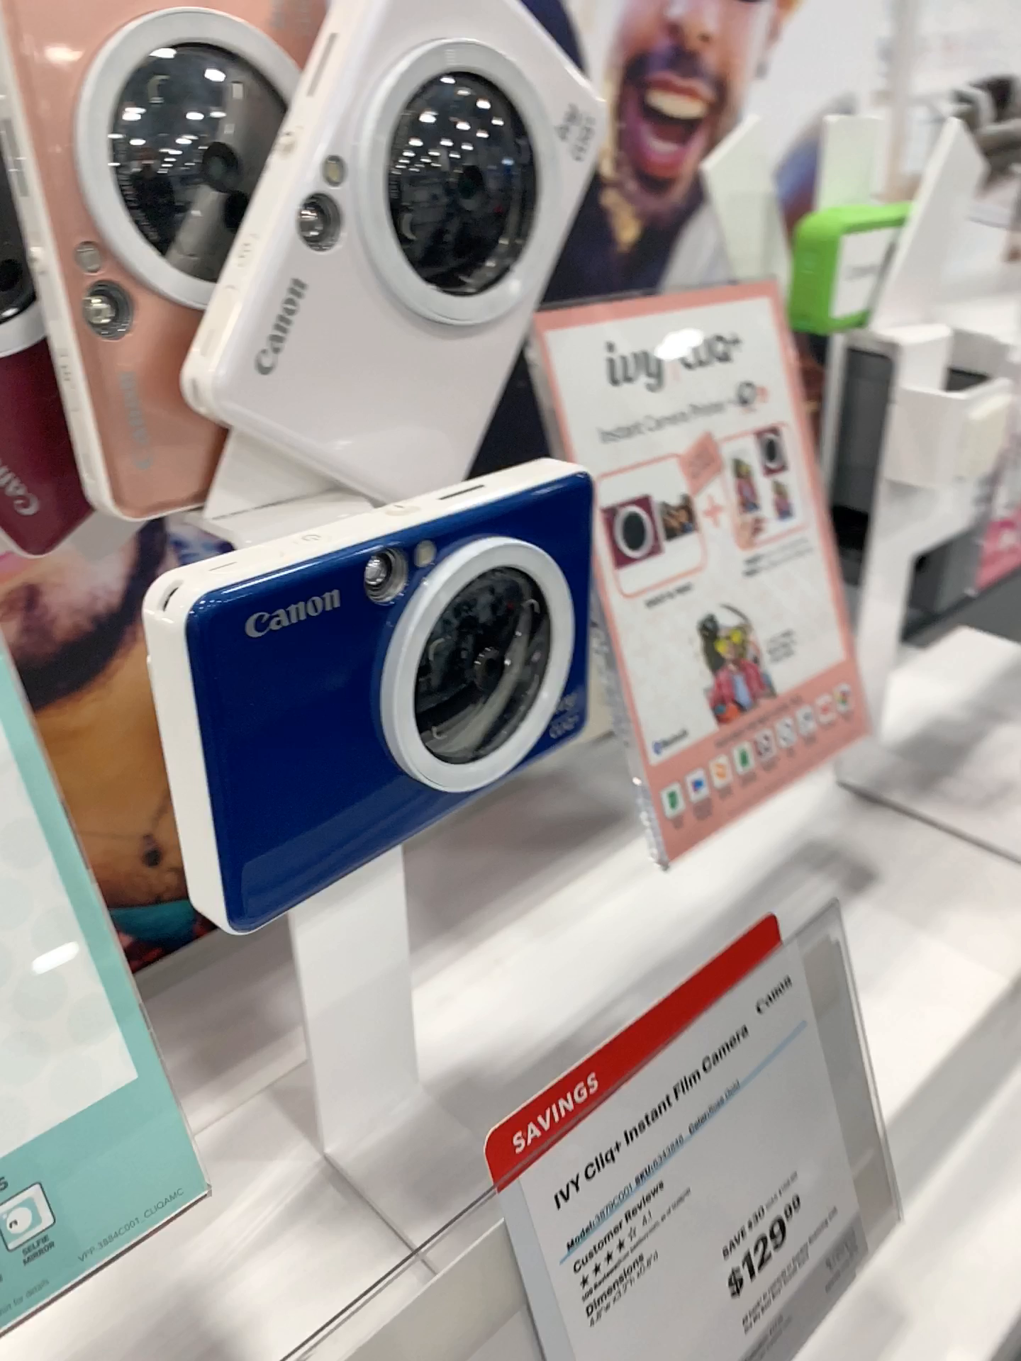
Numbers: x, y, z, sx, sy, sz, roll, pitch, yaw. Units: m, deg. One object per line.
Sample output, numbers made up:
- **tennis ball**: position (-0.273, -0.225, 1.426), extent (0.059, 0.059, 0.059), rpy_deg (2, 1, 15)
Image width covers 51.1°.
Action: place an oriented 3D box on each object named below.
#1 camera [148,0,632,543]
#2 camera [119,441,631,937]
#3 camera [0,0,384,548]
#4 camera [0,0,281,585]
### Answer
- **camera**: position (-0.025, -0.105, 0.257), extent (0.028, 0.120, 0.078), rpy_deg (23, 1, 41)
- **camera**: position (-0.021, -0.005, 0.244), extent (0.028, 0.070, 0.120), rpy_deg (23, 36, 36)
- **camera**: position (-0.072, -0.101, 0.246), extent (0.028, 0.119, 0.078), rpy_deg (22, 35, 37)
- **camera**: position (-0.109, -0.088, 0.229), extent (0.028, 0.110, 0.078), rpy_deg (23, 63, 35)
